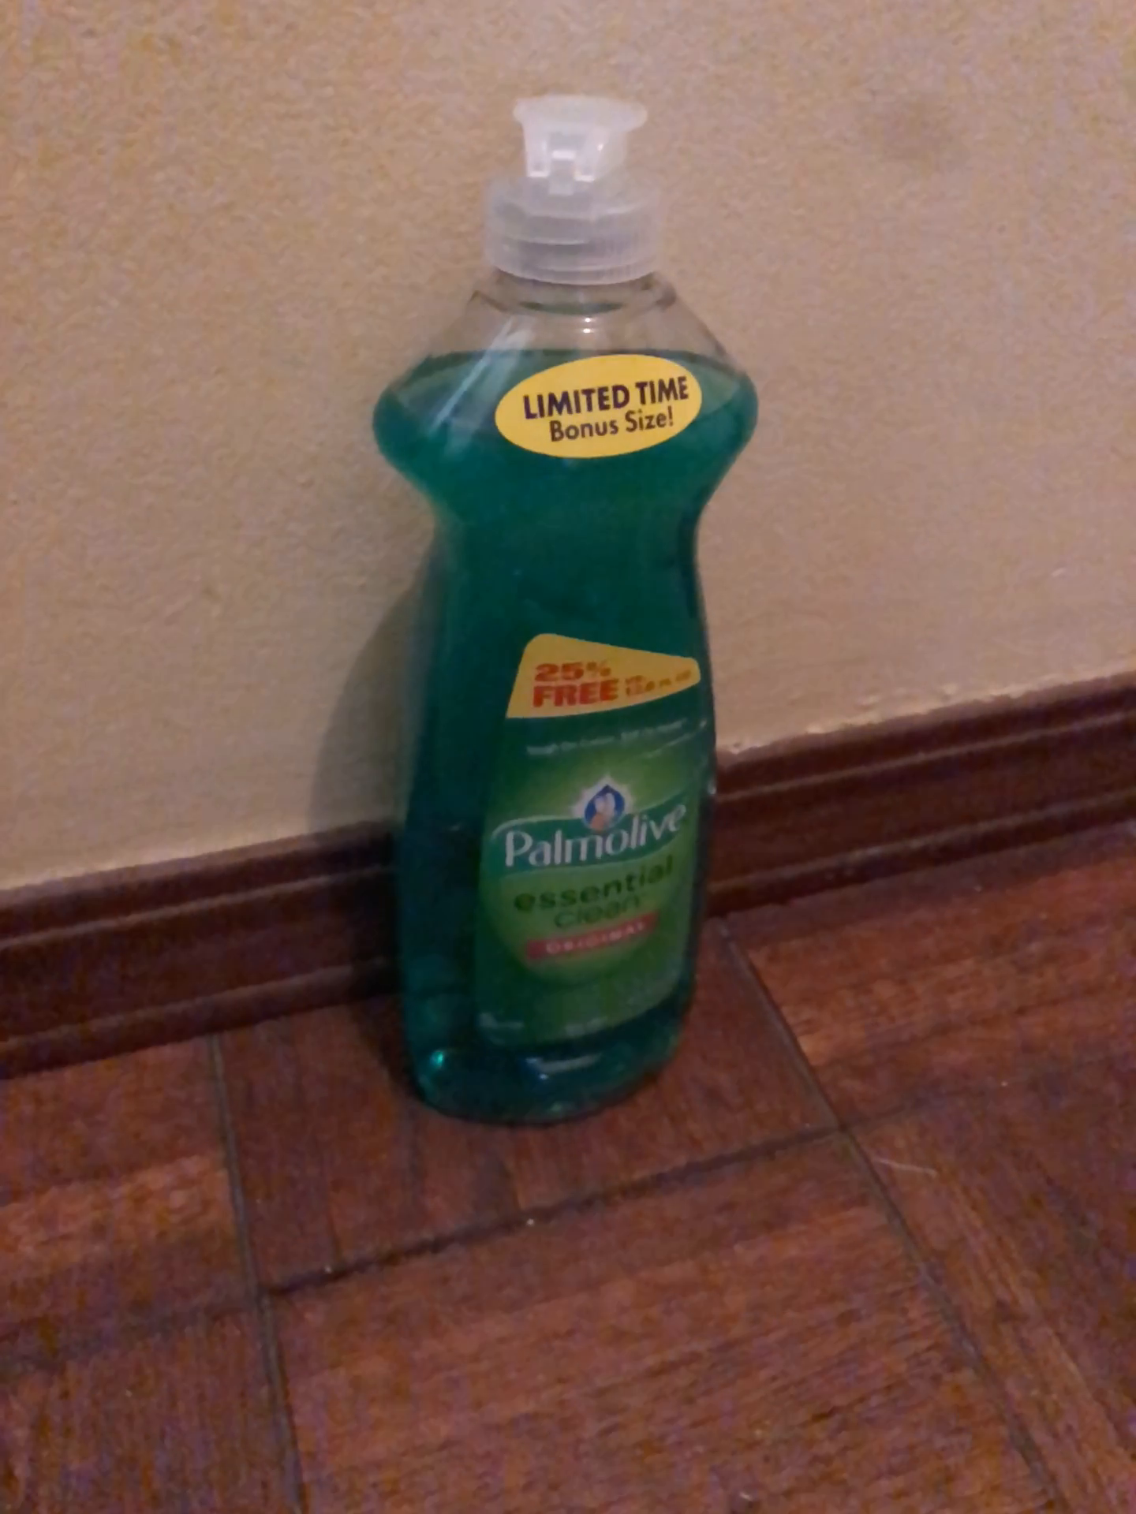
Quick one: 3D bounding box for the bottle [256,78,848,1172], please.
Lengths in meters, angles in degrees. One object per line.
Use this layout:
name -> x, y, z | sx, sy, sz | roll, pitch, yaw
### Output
bottle -> -0.007, -0.010, 0.271 | 0.080, 0.229, 0.050 | -13, 41, -17
